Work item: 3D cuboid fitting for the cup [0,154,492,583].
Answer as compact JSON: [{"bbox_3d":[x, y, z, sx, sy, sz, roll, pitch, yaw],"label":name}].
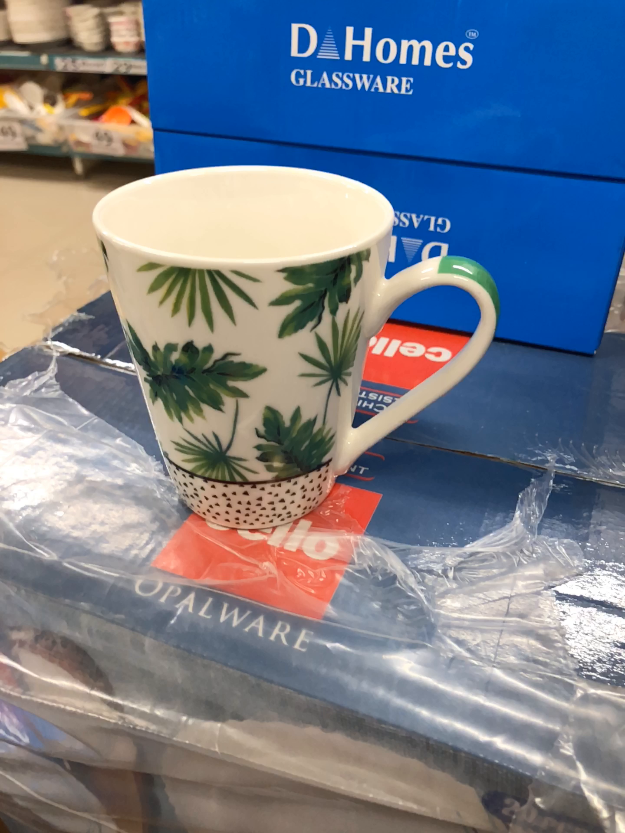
[{"bbox_3d":[-0.012,-0.019,0.222,0.120,0.099,0.081,5,37,9],"label":"cup"}]
